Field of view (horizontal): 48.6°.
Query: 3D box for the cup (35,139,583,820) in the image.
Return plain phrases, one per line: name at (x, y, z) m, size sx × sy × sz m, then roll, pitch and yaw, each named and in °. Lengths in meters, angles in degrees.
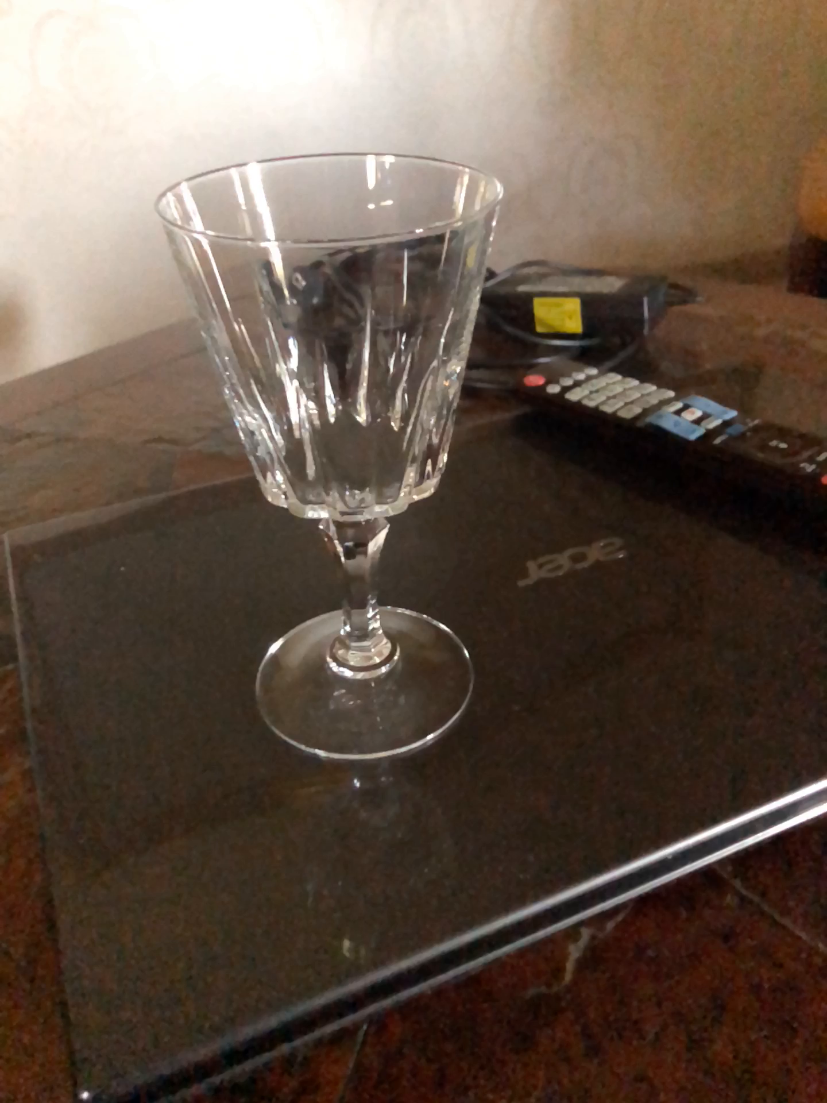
cup at (-0.018, -0.027, 0.275) m, size 0.100 × 0.159 × 0.101 m, roll -2°, pitch 33°, yaw 1°
